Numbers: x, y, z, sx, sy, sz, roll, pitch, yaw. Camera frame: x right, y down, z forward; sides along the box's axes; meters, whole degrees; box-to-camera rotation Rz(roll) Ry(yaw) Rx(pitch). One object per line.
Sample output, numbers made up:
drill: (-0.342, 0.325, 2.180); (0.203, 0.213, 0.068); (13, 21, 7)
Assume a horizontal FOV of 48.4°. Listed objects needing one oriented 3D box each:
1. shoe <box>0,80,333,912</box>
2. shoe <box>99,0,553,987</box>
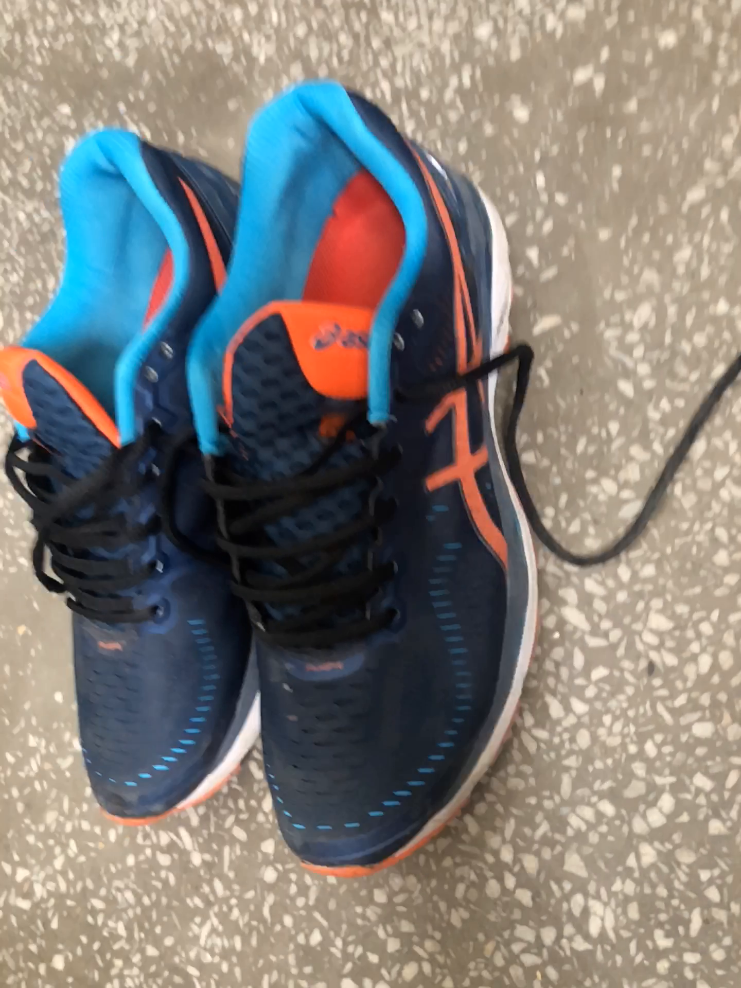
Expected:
shoe: (-0.102, -0.001, 0.351); (0.118, 0.100, 0.288); (-1, 79, 27)
shoe: (-0.004, -0.005, 0.302); (0.118, 0.100, 0.288); (-3, 78, 26)
